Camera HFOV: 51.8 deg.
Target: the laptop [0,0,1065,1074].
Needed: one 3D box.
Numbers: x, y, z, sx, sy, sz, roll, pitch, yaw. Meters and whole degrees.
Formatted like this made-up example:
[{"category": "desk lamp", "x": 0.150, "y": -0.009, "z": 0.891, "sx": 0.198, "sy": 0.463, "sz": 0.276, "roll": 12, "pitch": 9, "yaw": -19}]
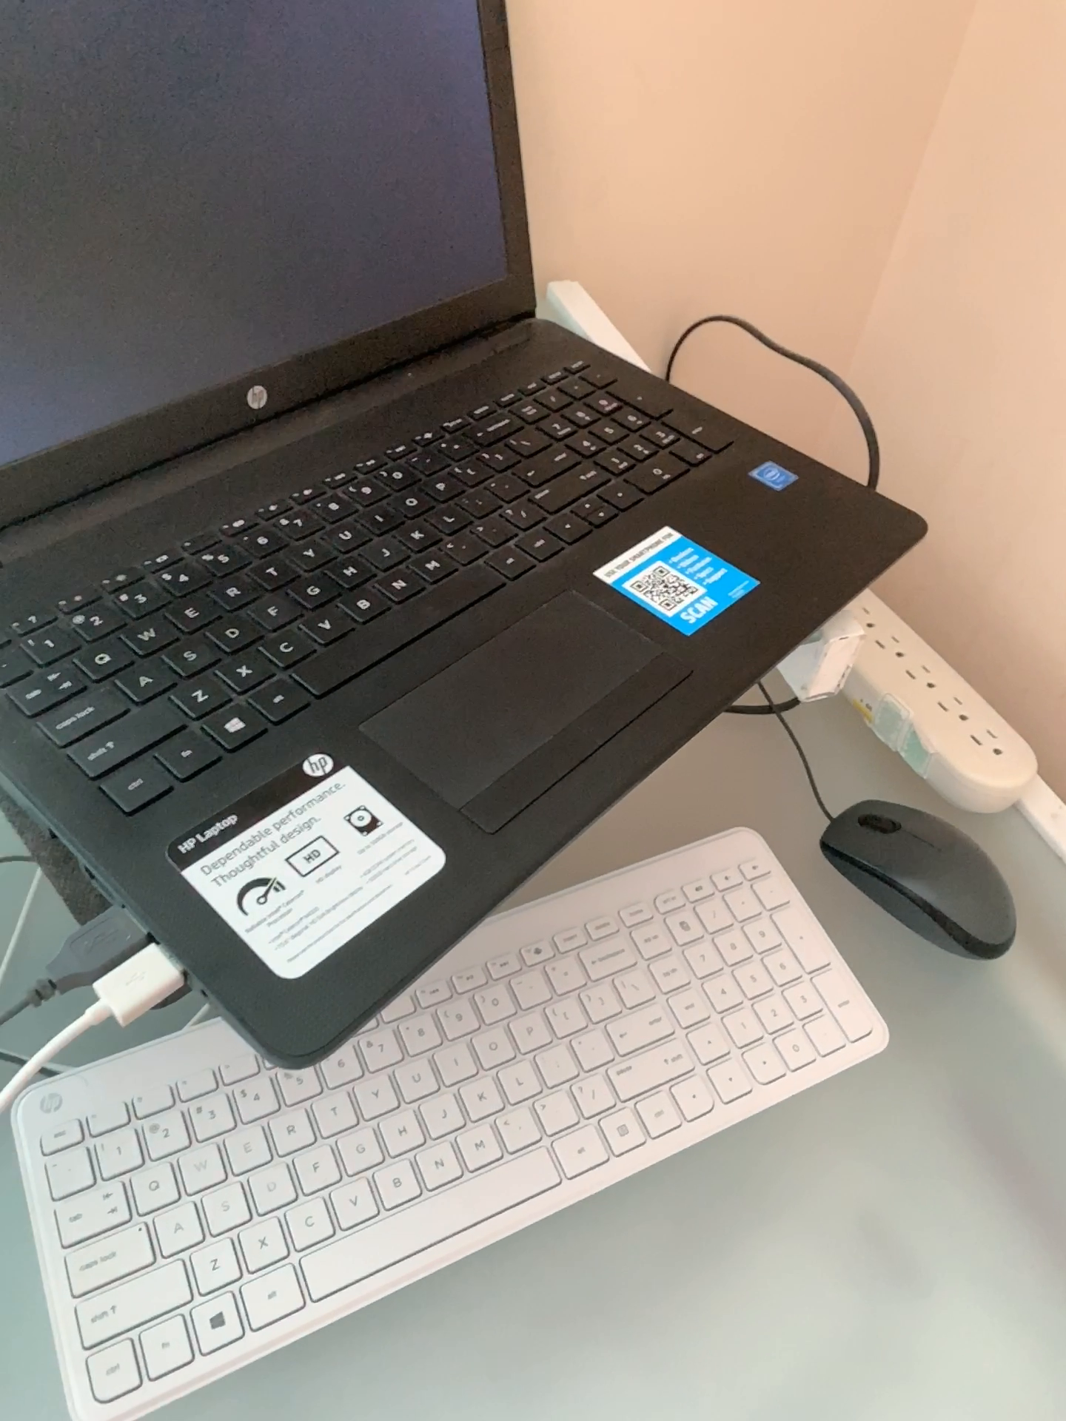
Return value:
[{"category": "laptop", "x": -0.044, "y": -0.152, "z": 0.379, "sx": 0.307, "sy": 0.222, "sz": 0.365, "roll": 35, "pitch": 51, "yaw": 25}]
